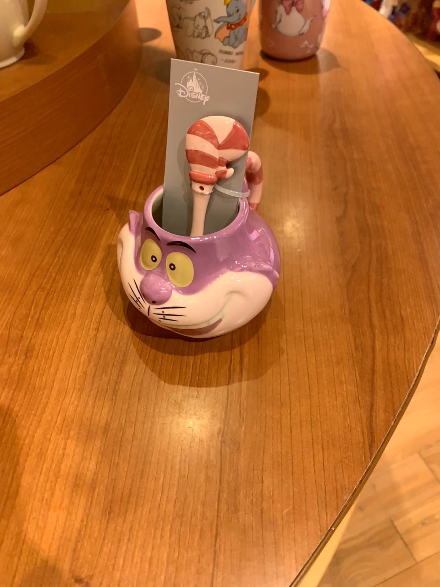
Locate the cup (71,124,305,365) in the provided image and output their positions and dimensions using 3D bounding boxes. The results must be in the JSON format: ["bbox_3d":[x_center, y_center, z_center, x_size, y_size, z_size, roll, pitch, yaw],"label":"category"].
[{"bbox_3d":[-0.009,-0.041,0.315,0.114,0.077,0.143,8,49,10],"label":"cup"}]
